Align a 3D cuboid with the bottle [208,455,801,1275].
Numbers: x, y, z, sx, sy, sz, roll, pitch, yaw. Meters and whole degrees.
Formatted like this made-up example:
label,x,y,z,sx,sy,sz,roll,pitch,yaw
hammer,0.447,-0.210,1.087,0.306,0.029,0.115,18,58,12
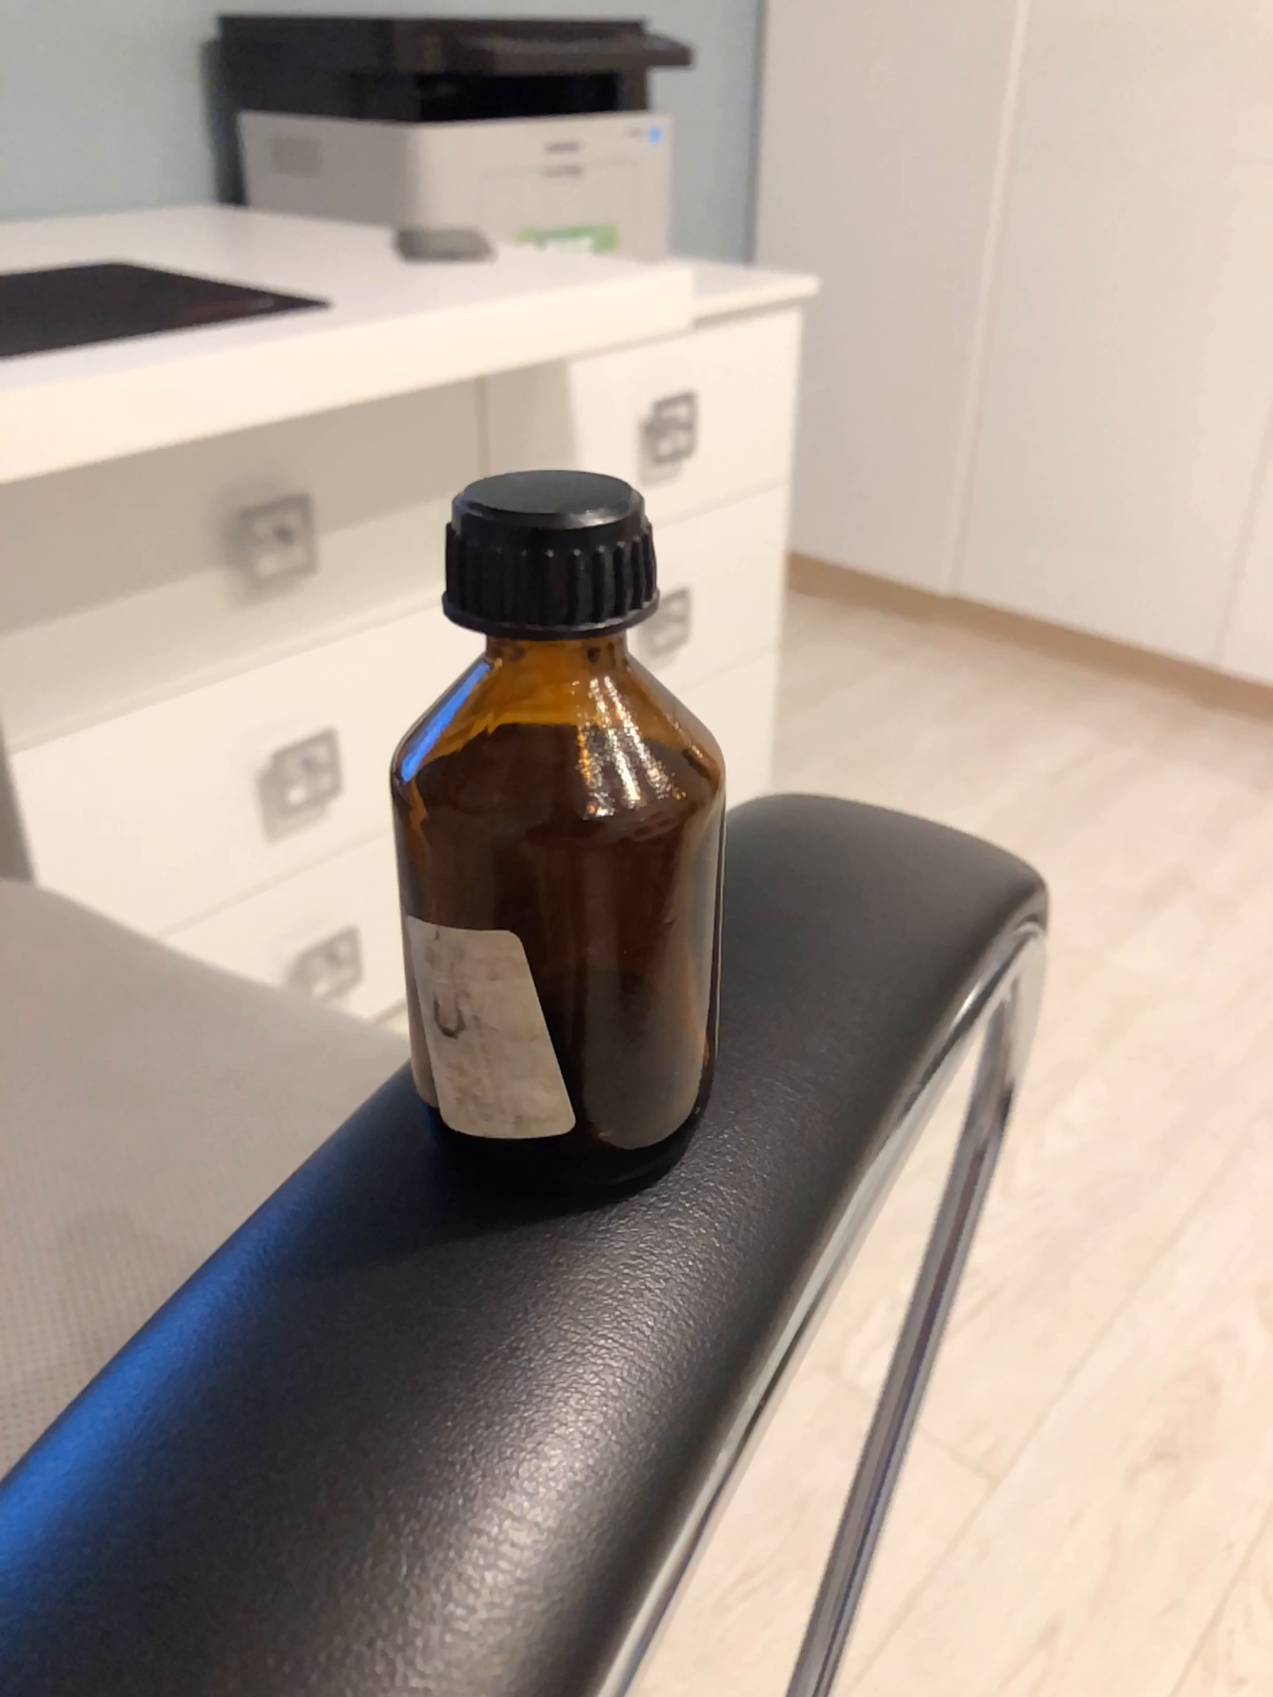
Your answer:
label,x,y,z,sx,sy,sz,roll,pitch,yaw
bottle,-0.014,0.000,0.183,0.050,0.083,0.050,1,30,-1
